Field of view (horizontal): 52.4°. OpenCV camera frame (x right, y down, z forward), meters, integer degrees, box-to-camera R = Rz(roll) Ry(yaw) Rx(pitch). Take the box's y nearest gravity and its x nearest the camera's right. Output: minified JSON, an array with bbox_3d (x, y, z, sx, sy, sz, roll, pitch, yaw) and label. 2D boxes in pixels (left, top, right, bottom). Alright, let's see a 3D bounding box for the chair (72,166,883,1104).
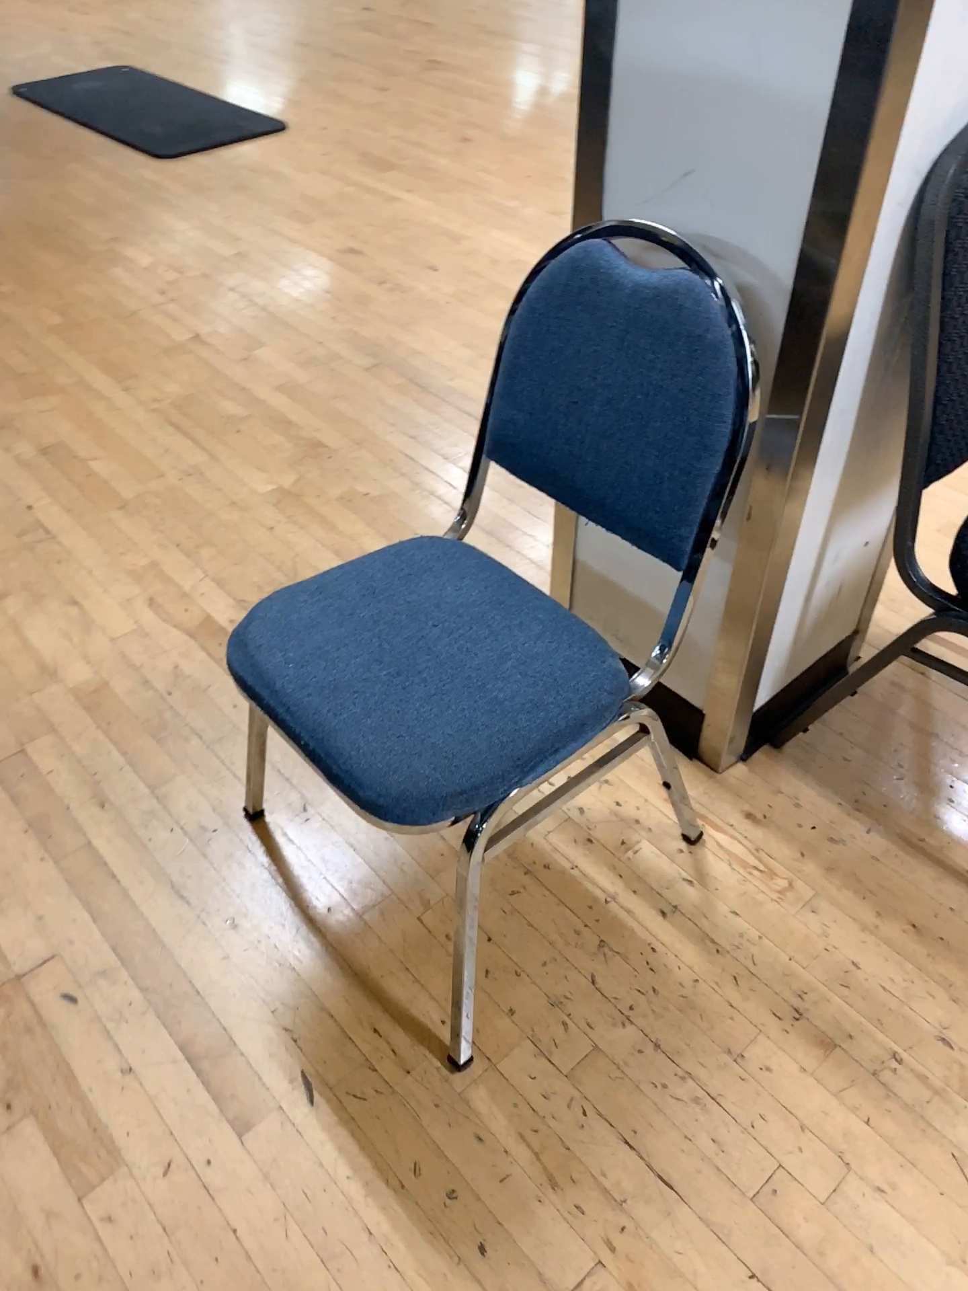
[{"bbox_3d":[-0.013,-0.007,1.240,0.554,0.888,0.550,-30,50,-28],"label":"chair"}]
